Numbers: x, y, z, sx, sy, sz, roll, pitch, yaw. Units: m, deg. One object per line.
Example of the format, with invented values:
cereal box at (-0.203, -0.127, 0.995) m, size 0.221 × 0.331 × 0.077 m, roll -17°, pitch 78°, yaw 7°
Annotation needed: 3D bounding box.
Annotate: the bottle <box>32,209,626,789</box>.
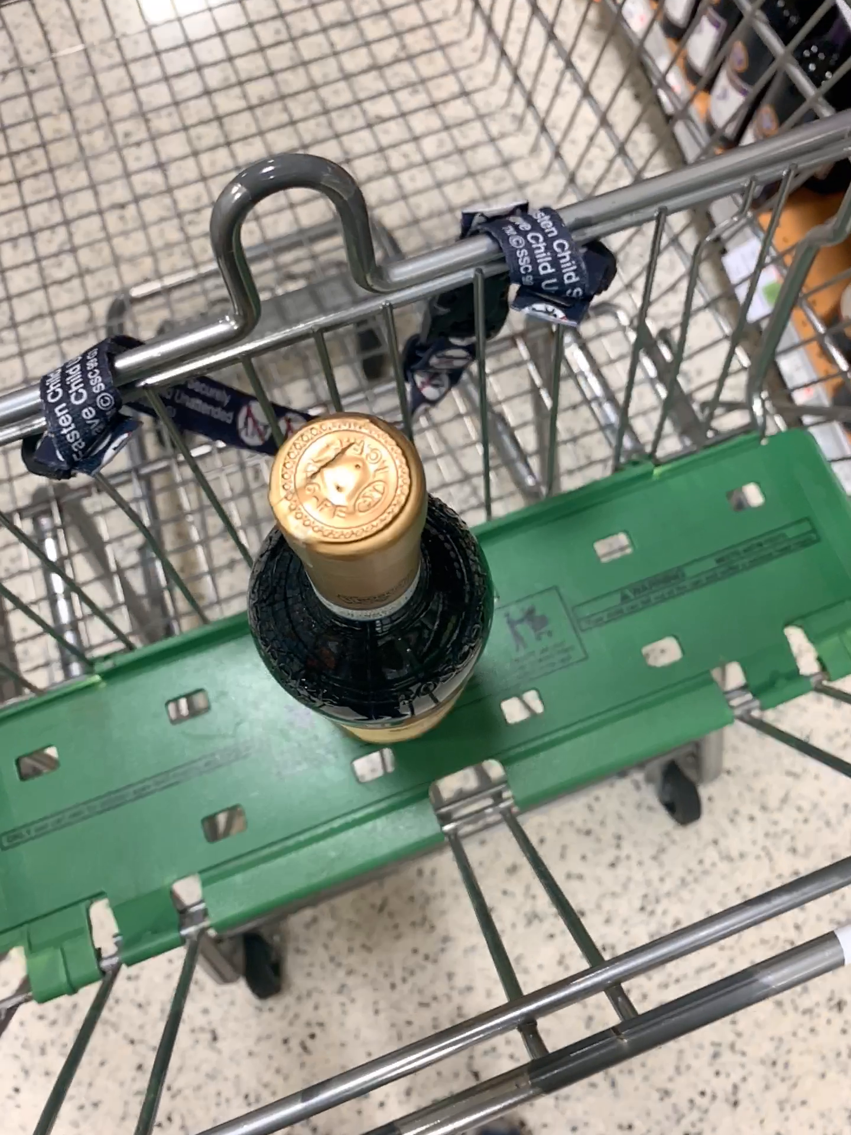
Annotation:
bottle at (-0.018, 0.016, 0.299) m, size 0.080 × 0.279 × 0.080 m, roll 0°, pitch 75°, yaw 0°
